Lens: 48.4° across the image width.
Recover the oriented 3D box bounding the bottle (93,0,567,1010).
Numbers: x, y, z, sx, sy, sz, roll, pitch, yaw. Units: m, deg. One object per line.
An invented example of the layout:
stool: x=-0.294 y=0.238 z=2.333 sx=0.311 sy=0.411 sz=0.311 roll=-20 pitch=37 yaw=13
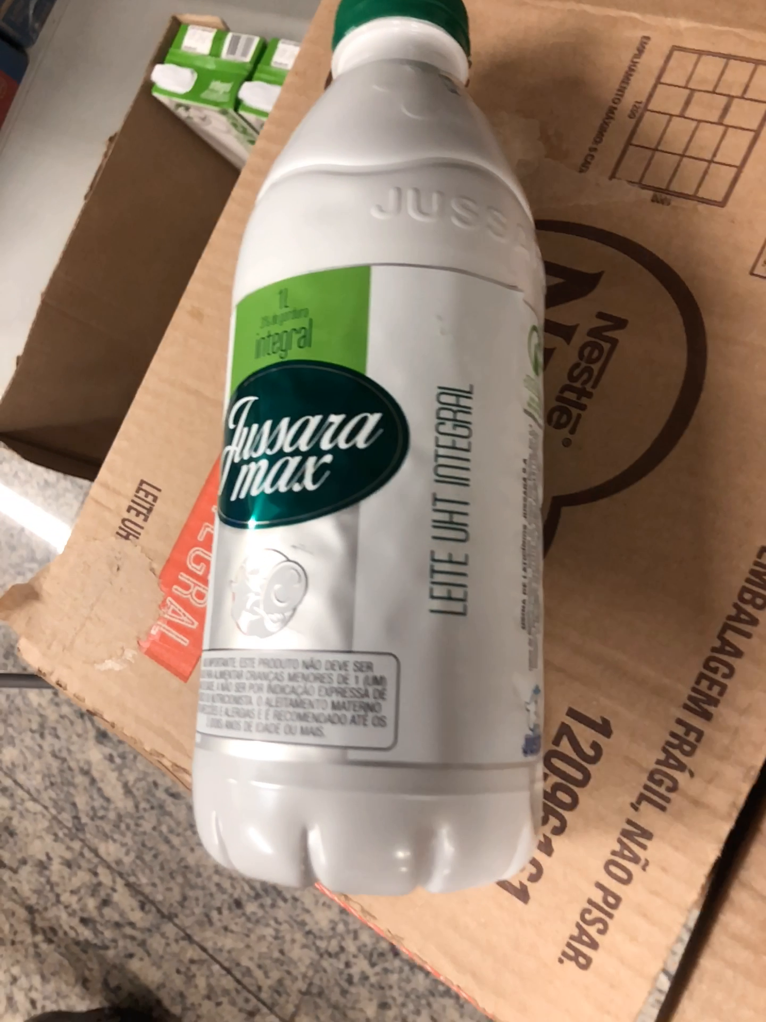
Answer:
bottle: x=-0.010 y=-0.028 z=0.207 sx=0.090 sy=0.060 sz=0.240 roll=-3 pitch=84 yaw=26
